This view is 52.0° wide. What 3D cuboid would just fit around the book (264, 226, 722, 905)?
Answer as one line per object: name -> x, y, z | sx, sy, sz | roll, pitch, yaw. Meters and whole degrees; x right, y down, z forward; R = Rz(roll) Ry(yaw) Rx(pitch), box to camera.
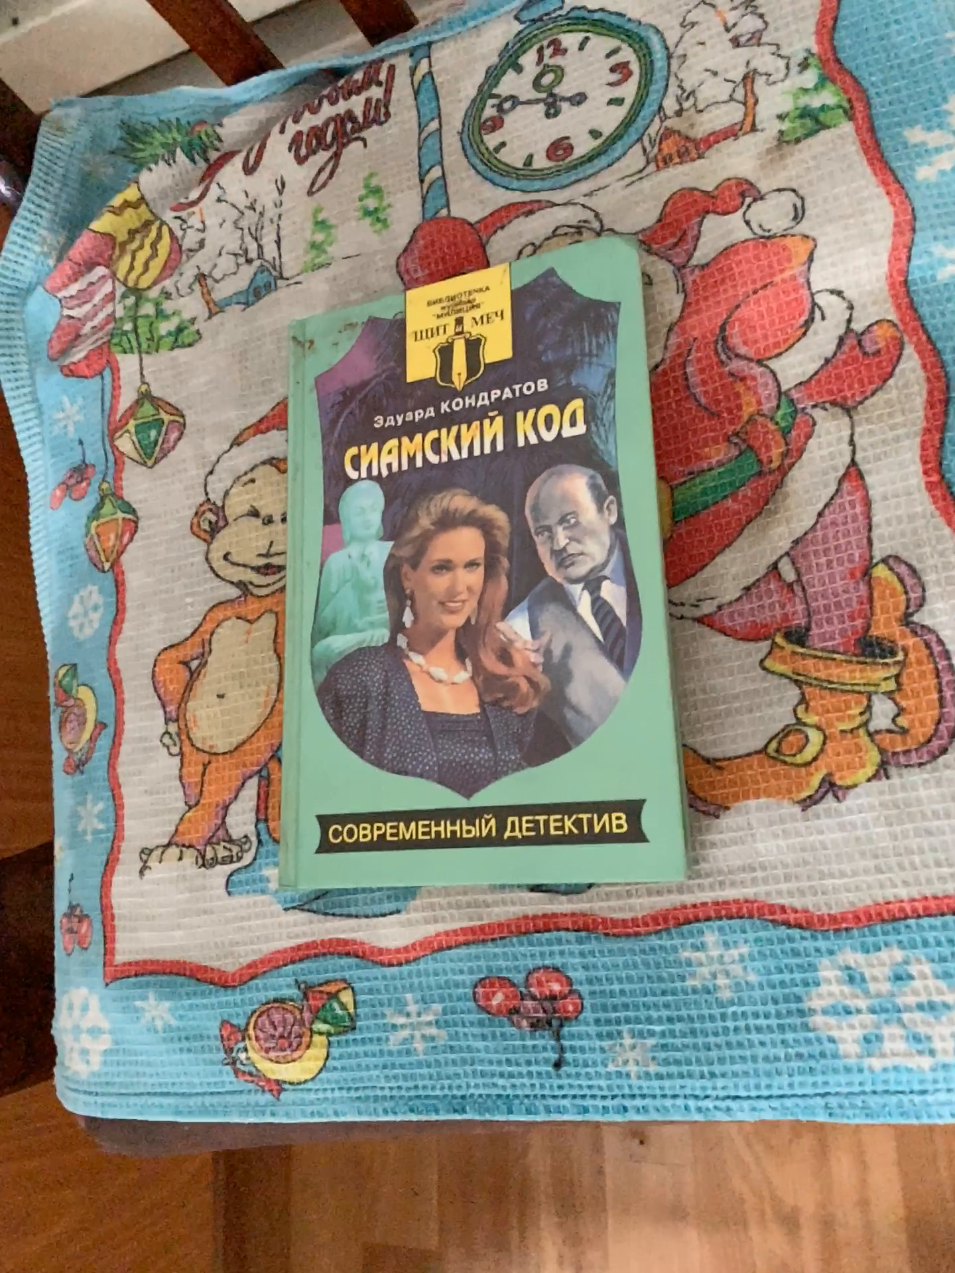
book -> -0.003, -0.018, 0.317 | 0.140, 0.023, 0.200 | -8, 76, 23
